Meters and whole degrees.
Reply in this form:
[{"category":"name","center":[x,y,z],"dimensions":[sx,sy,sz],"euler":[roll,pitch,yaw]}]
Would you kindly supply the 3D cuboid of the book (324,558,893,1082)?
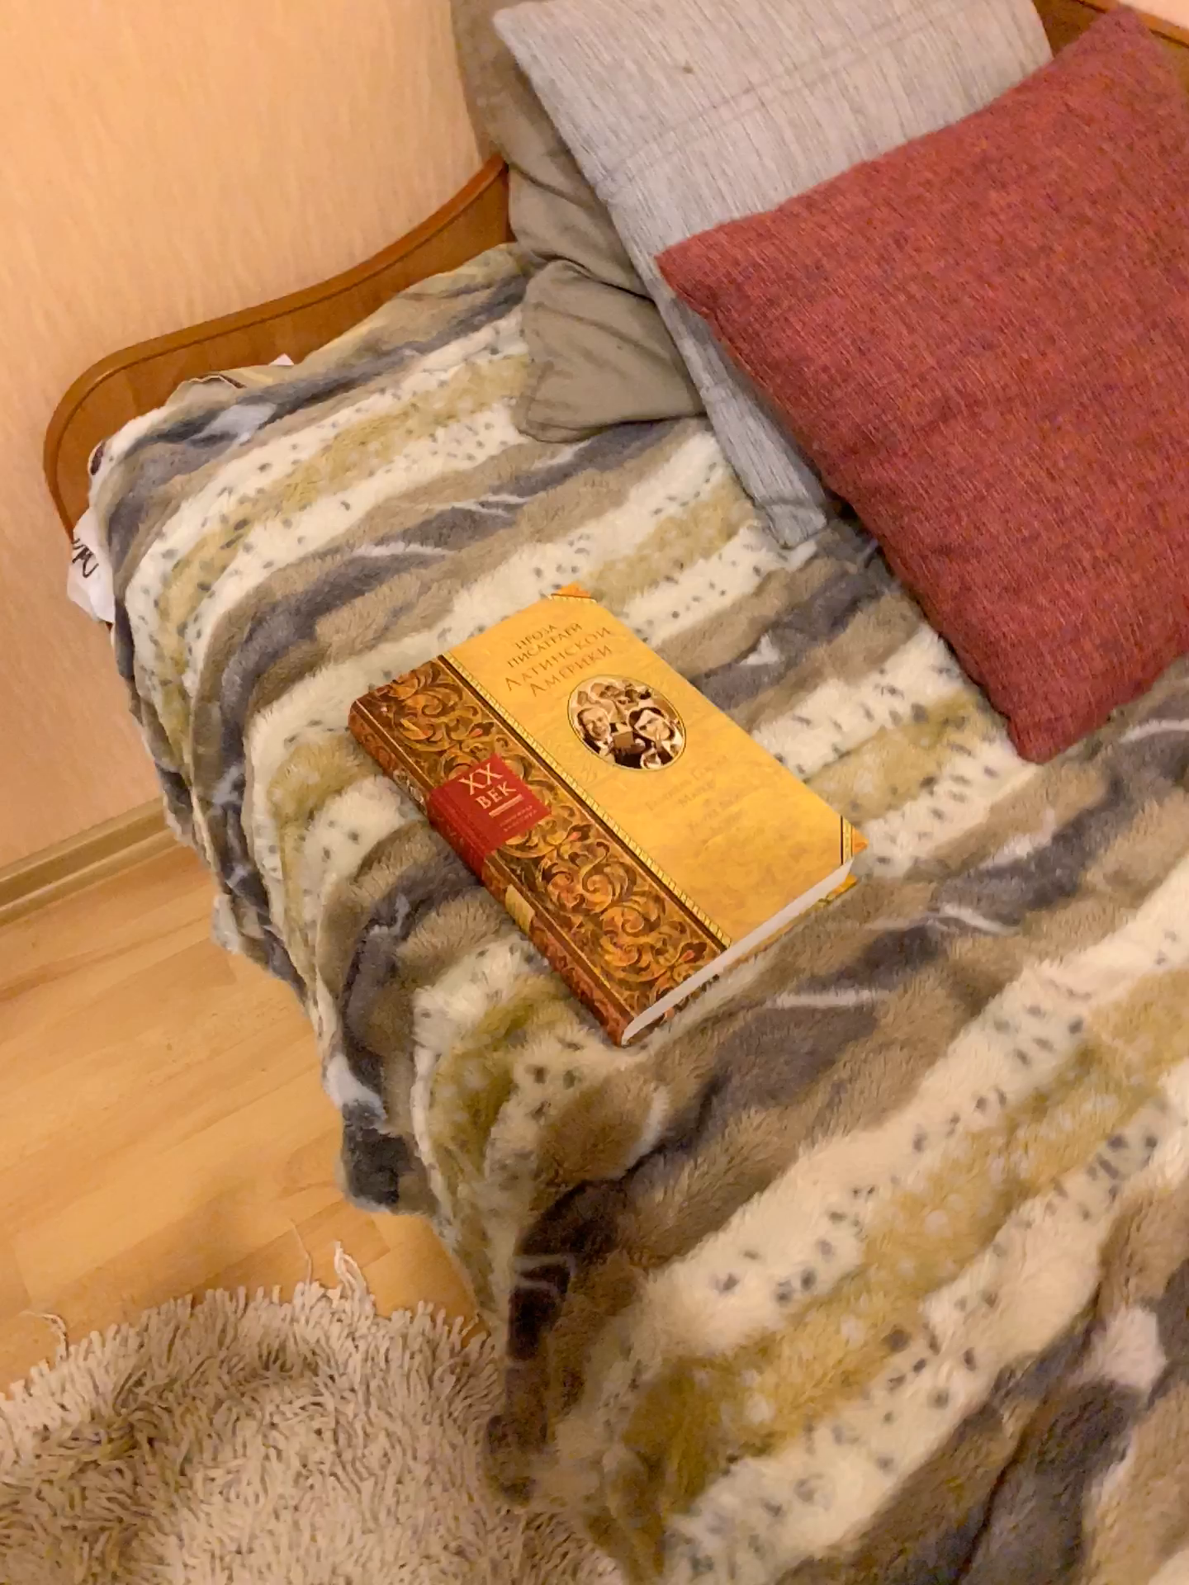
[{"category":"book","center":[0.000,-0.001,0.681],"dimensions":[0.180,0.060,0.271],"euler":[-32,57,-22]}]
